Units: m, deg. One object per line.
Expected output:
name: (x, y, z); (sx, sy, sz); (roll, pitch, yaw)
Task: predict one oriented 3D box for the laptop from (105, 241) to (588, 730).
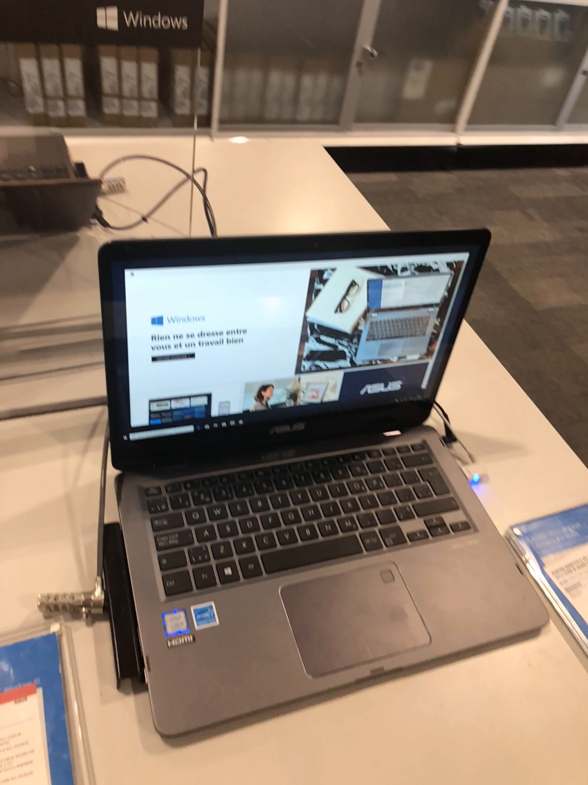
laptop: (0.038, 0.048, 0.469); (0.303, 0.217, 0.224); (-7, 45, -18)
